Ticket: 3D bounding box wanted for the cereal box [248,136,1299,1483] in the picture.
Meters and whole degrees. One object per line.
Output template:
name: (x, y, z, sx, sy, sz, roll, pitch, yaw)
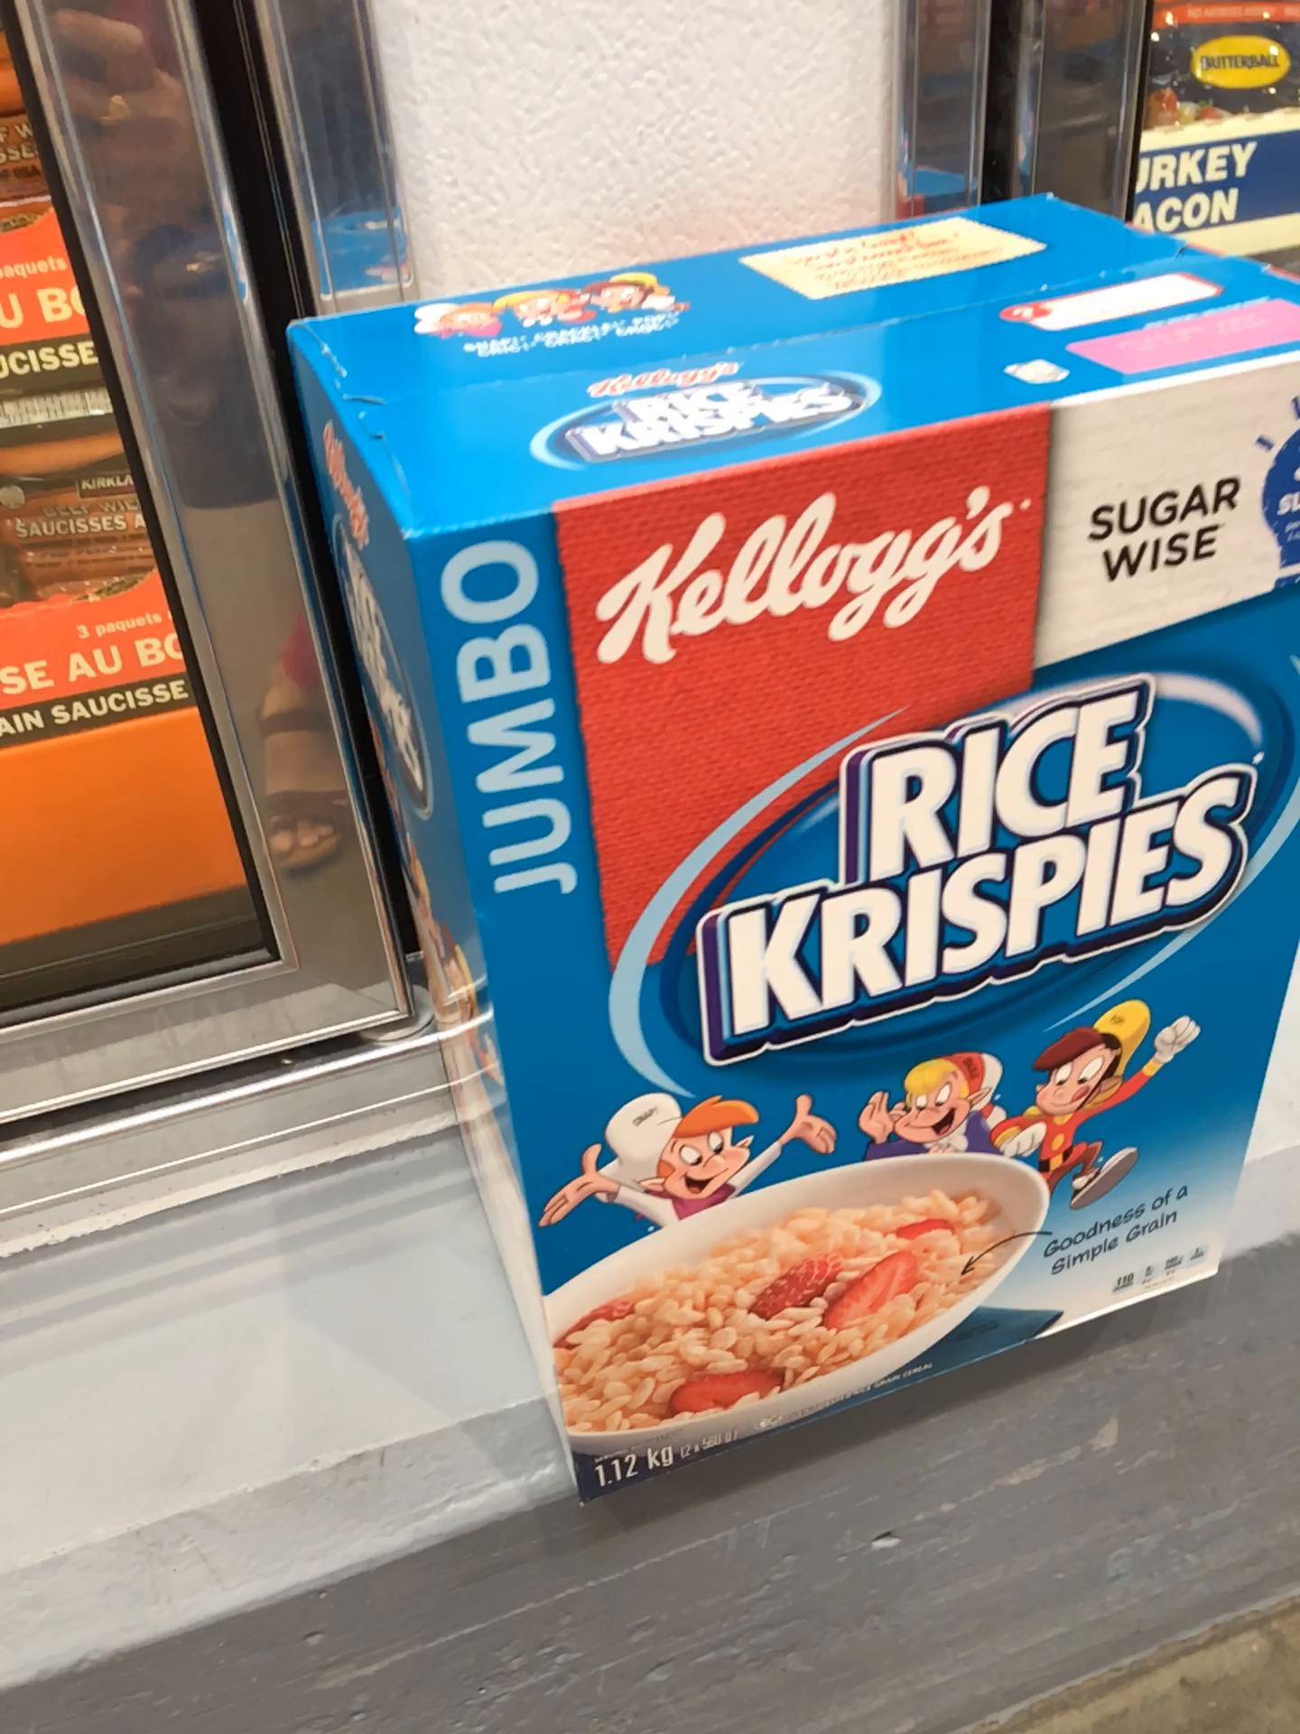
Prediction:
cereal box: (0.047, -0.014, 0.431, 0.240, 0.318, 0.161, -15, 38, -13)
